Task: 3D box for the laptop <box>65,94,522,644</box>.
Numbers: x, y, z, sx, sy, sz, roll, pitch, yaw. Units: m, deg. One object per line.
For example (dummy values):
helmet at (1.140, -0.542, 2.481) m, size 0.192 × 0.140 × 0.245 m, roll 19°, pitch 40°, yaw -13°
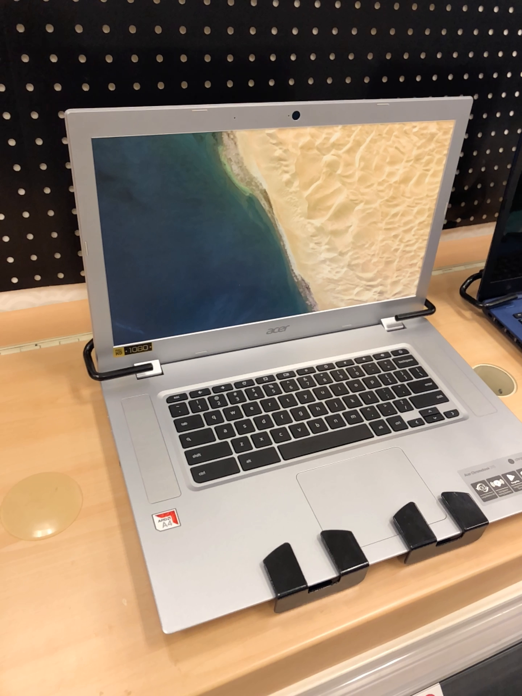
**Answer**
laptop at (0.066, -0.028, 0.477) m, size 0.372 × 0.246 × 0.286 m, roll -11°, pitch 39°, yaw -20°
